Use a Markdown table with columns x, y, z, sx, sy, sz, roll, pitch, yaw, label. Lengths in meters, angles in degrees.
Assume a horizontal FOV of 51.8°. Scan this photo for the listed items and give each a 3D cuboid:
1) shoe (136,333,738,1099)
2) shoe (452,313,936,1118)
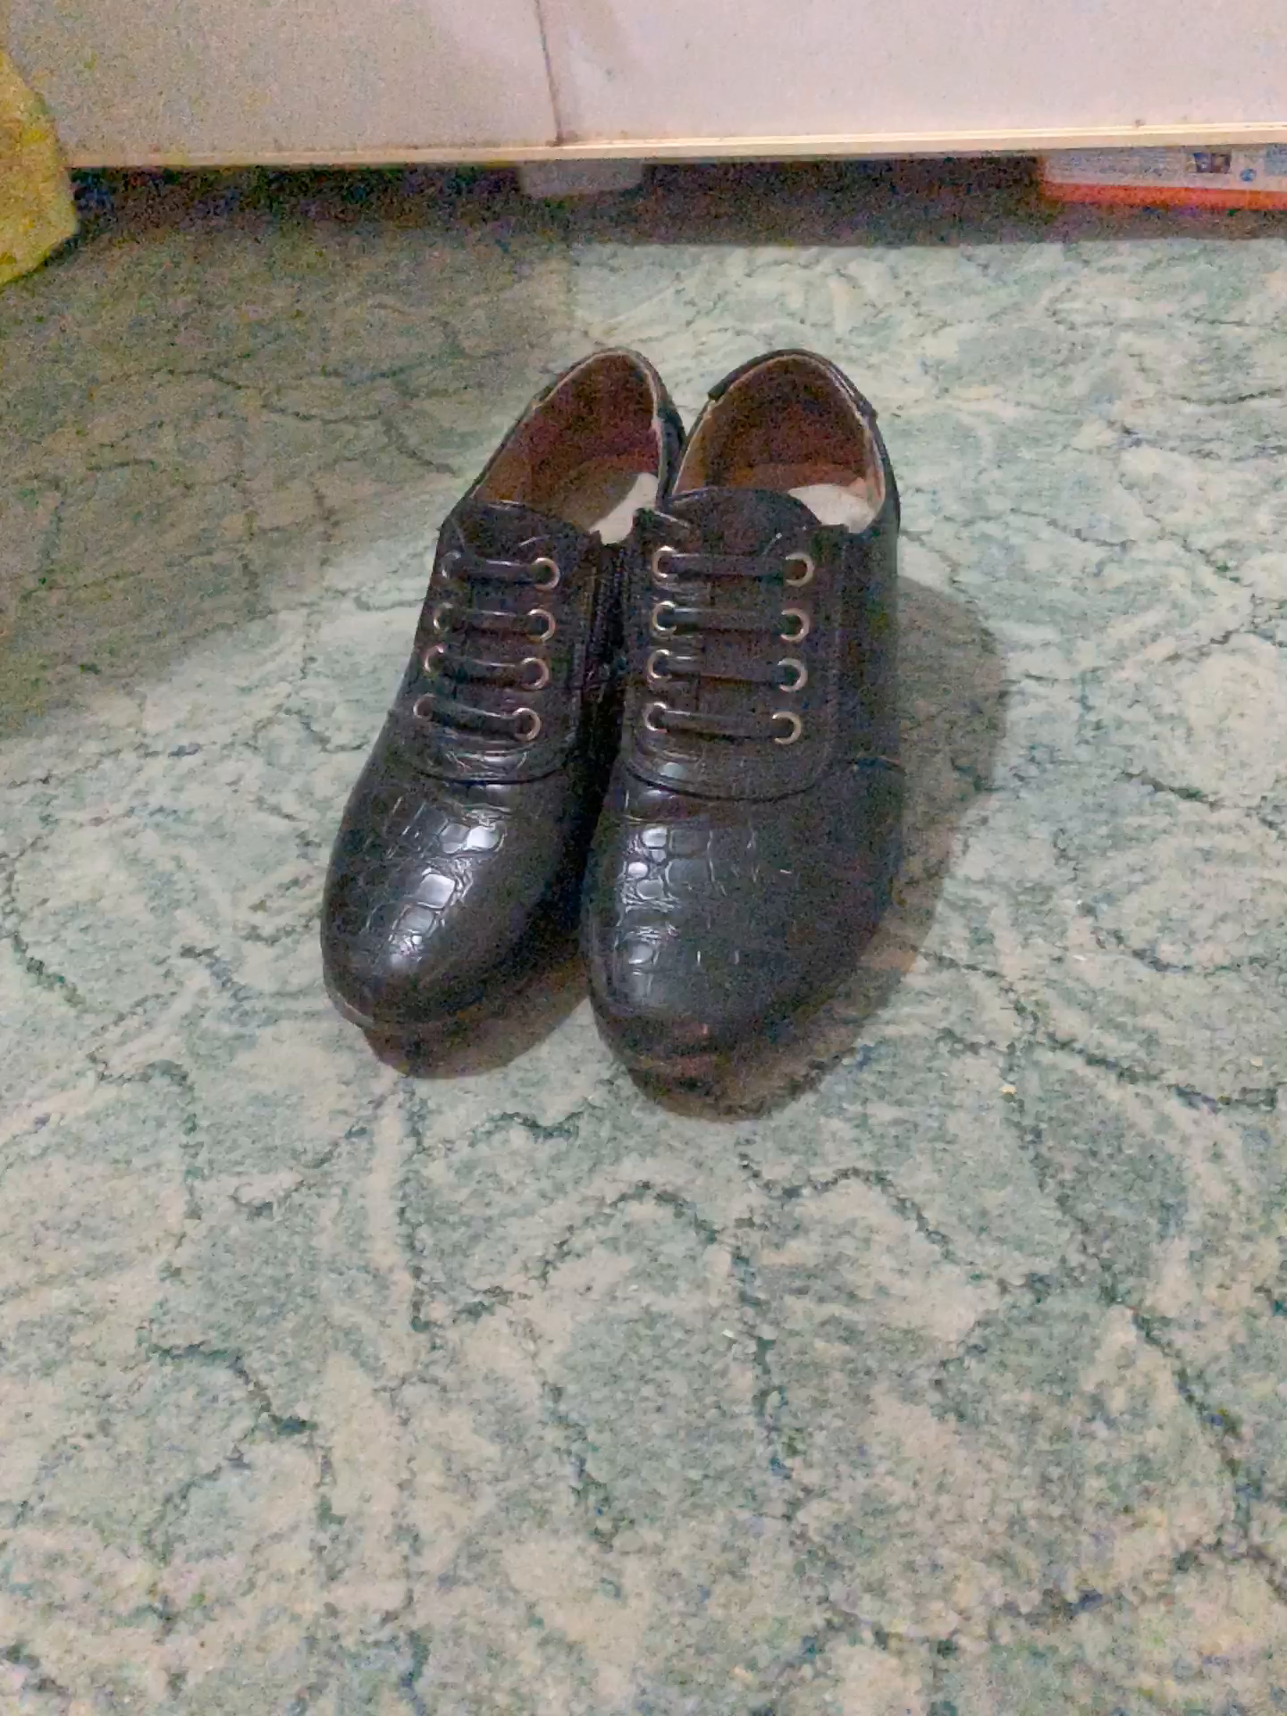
| x | y | z | sx | sy | sz | roll | pitch | yaw | label |
| --- | --- | --- | --- | --- | --- | --- | --- | --- | --- |
| -0.043 | -0.057 | 0.422 | 0.090 | 0.119 | 0.221 | 6 | 49 | 16 | shoe |
| 0.032 | -0.051 | 0.390 | 0.090 | 0.119 | 0.211 | 4 | 48 | 14 | shoe |
